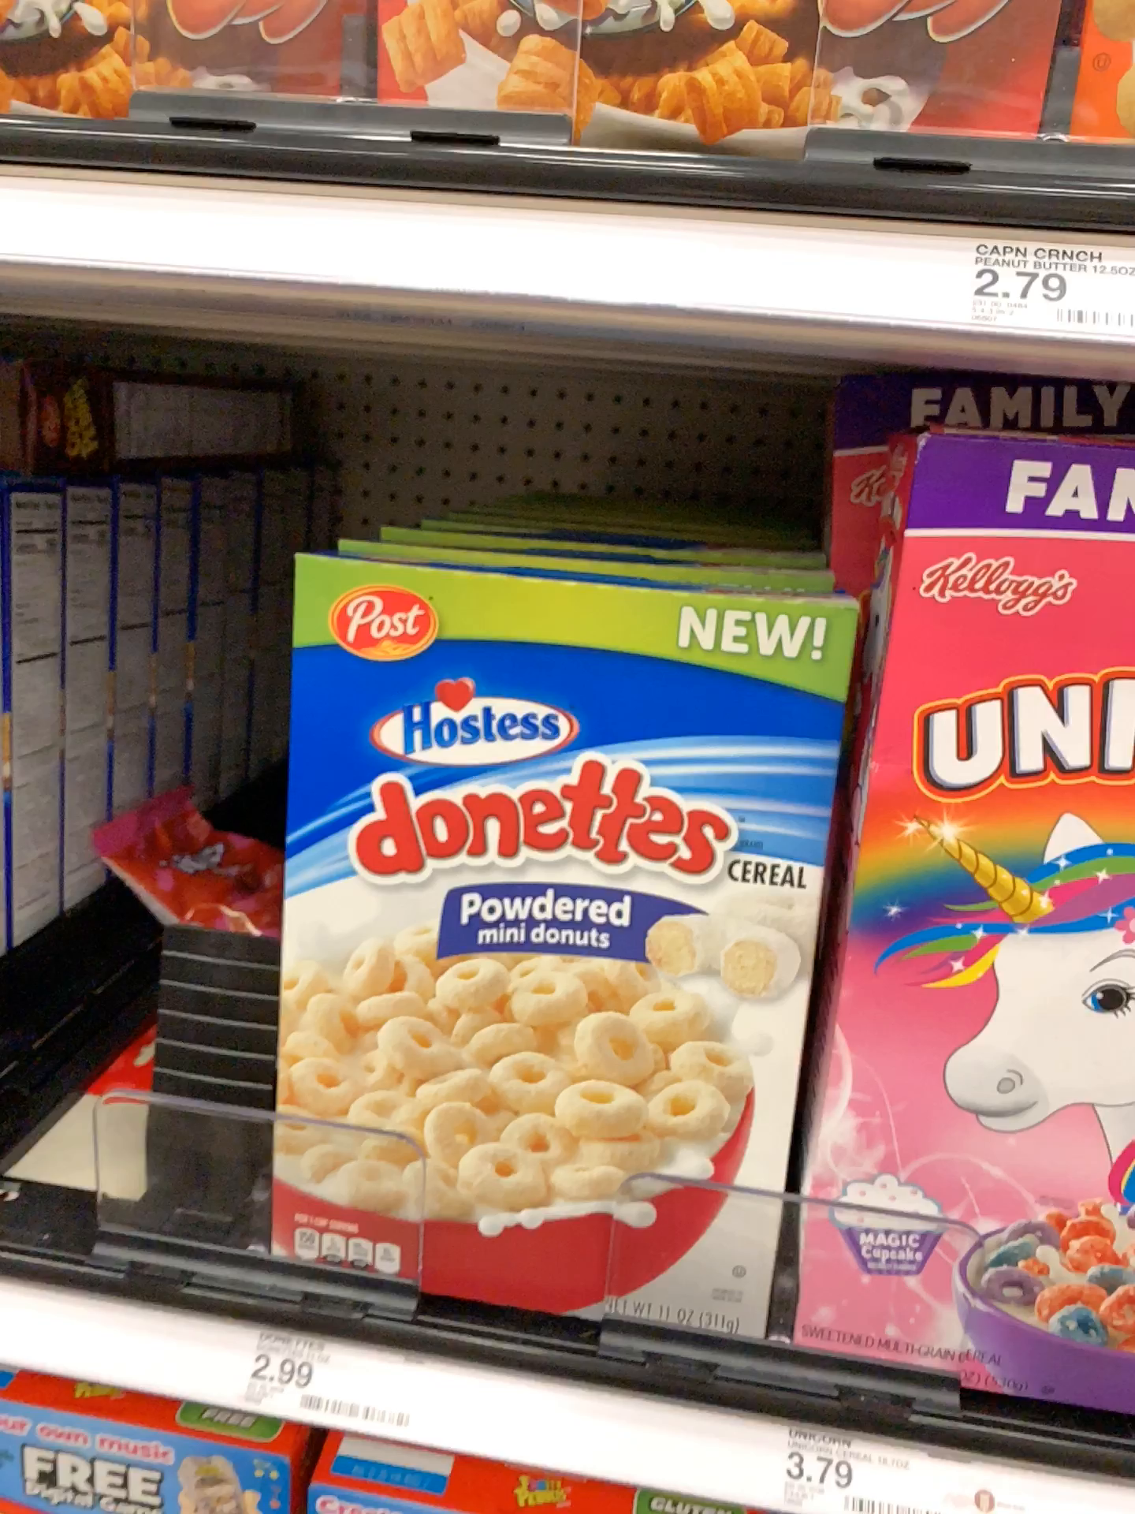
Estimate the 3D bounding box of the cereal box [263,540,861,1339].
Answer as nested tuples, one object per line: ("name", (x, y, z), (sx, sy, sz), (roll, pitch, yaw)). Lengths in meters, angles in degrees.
("cereal box", (-0.008, 0.064, 0.442), (0.190, 0.269, 0.060), (6, 12, 7))
